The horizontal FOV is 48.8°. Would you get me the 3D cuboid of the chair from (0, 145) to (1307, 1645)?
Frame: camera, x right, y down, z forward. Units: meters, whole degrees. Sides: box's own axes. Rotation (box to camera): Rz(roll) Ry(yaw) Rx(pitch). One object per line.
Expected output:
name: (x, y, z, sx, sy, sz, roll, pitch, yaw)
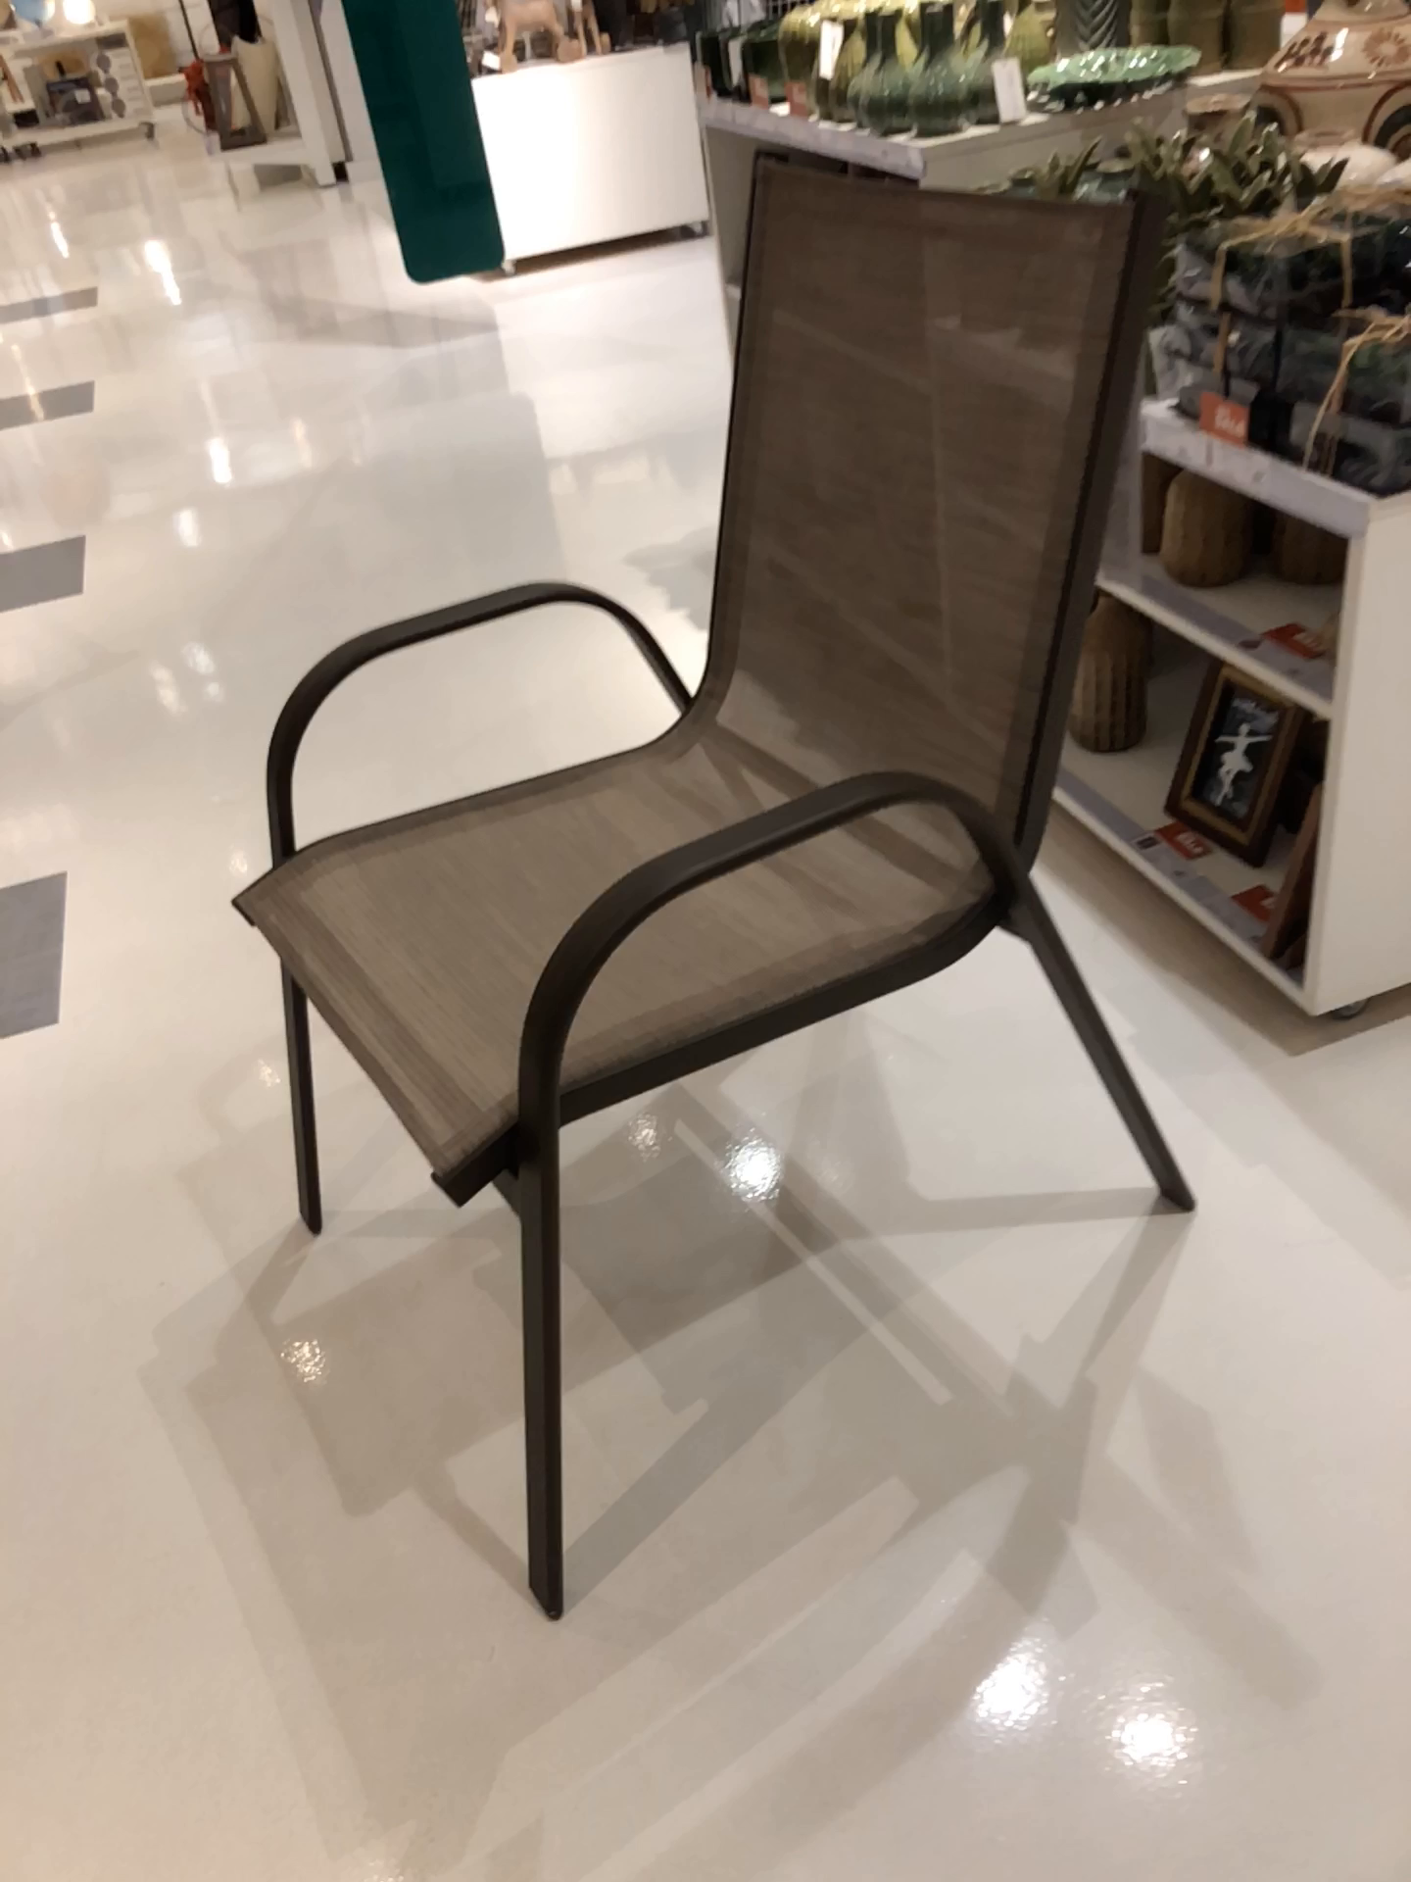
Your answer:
chair: (-0.046, -0.099, 1.221, 0.701, 0.794, 0.603, -25, 37, -22)
